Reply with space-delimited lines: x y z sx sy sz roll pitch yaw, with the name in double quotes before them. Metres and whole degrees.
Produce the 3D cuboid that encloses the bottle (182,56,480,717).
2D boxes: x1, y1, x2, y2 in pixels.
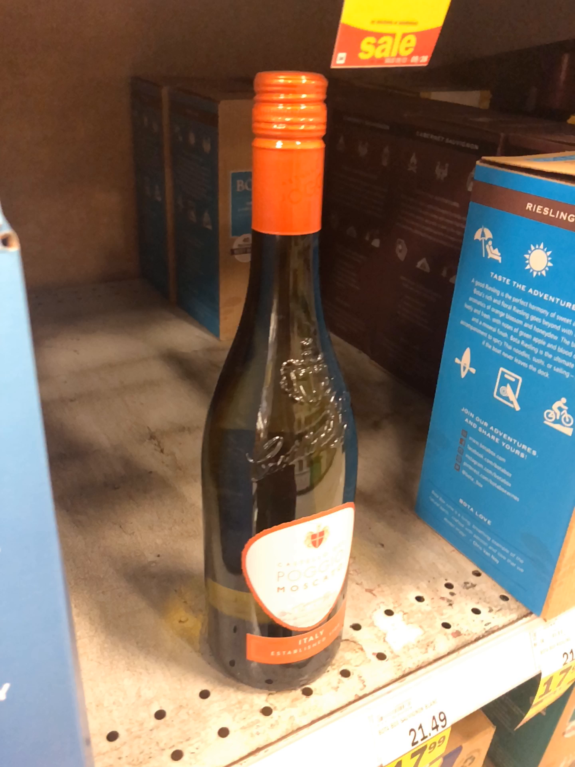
"bottle" 0.005 0.018 0.299 0.080 0.299 0.070 -14 34 -29
